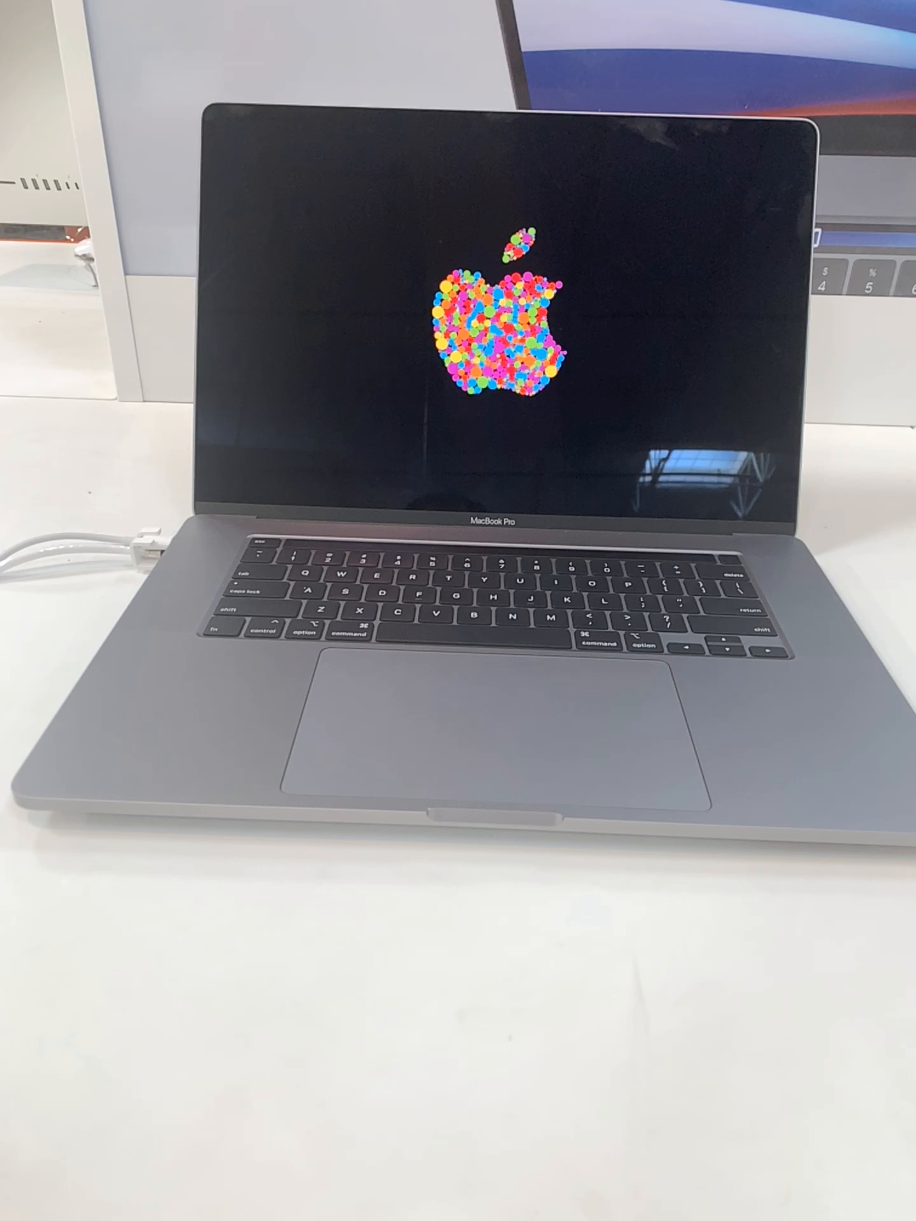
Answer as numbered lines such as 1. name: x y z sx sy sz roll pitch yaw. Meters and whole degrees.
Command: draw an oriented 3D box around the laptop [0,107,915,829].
1. laptop: 0.027 -0.104 0.426 0.341 0.203 0.347 2 30 0
